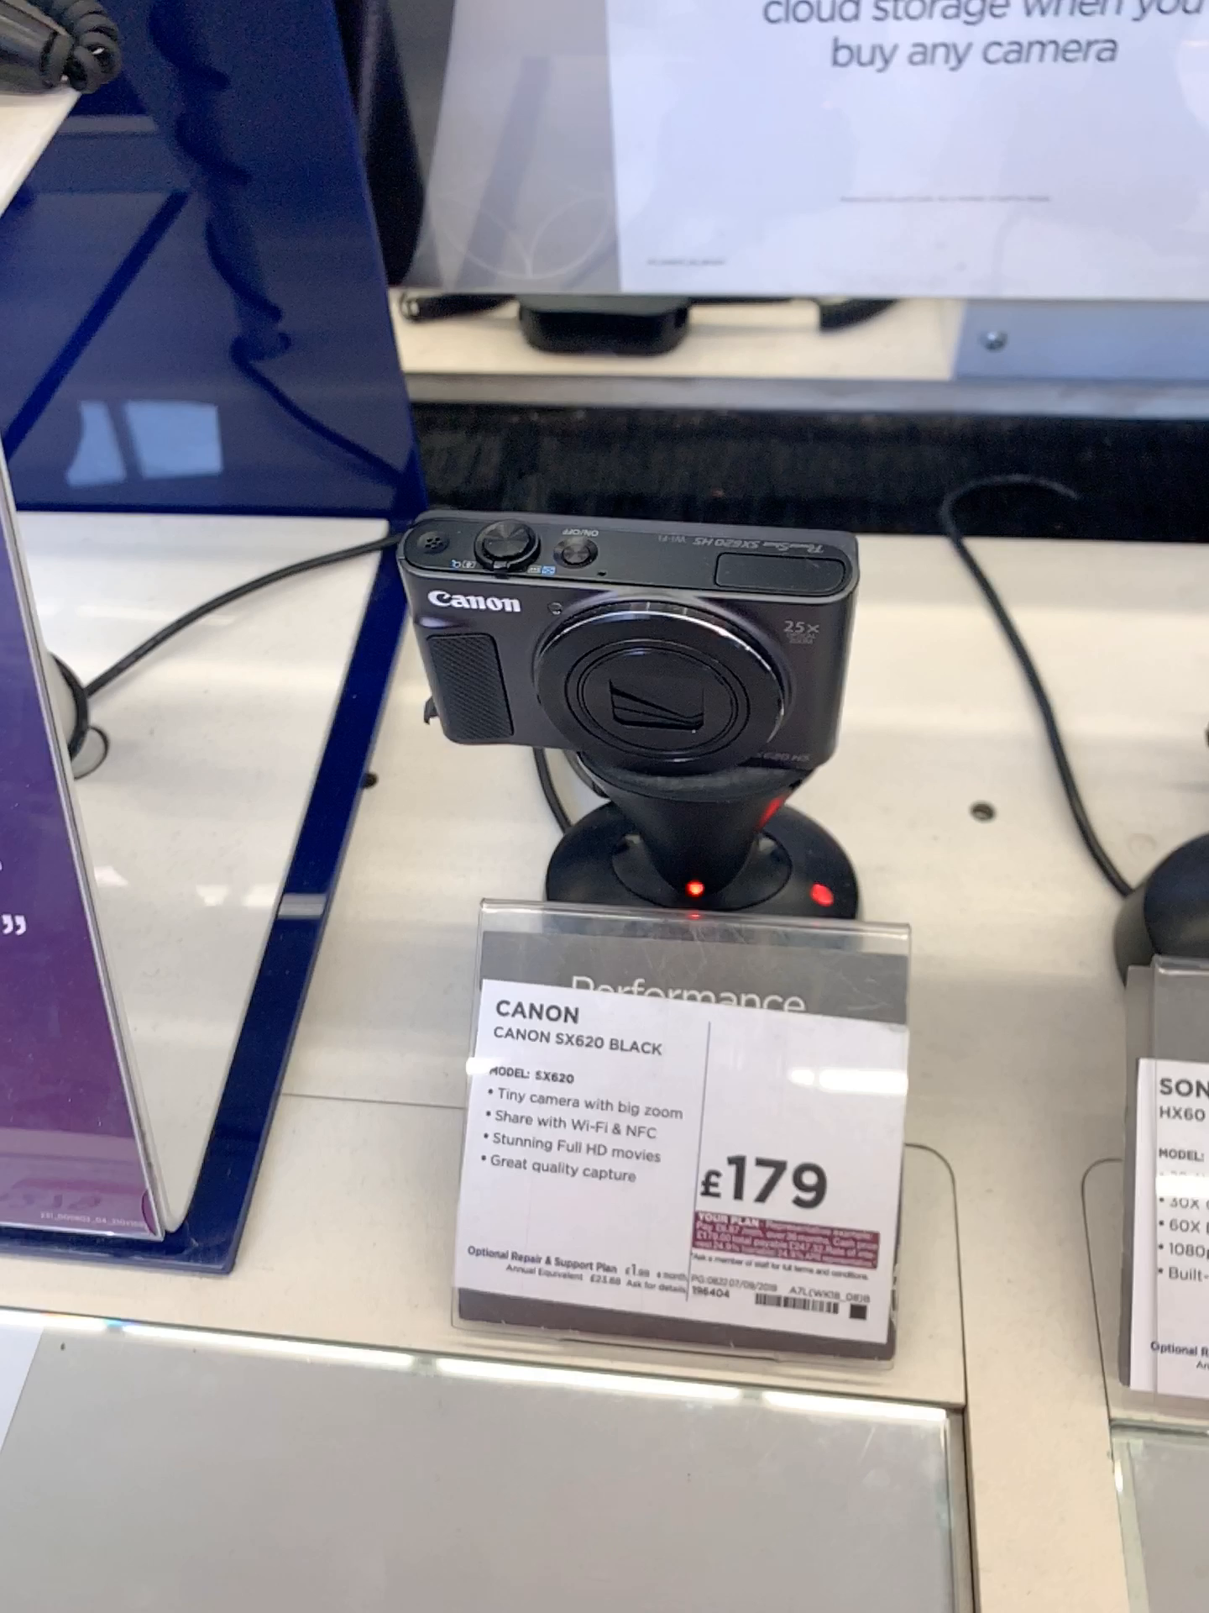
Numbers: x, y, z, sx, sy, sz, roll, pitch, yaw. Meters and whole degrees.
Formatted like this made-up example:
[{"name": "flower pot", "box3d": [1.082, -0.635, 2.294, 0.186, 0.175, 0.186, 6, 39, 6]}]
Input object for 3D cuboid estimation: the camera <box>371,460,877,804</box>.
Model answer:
[{"name": "camera", "box3d": [0.006, -0.034, 0.255, 0.090, 0.060, 0.030, 5, 54, 8]}]
